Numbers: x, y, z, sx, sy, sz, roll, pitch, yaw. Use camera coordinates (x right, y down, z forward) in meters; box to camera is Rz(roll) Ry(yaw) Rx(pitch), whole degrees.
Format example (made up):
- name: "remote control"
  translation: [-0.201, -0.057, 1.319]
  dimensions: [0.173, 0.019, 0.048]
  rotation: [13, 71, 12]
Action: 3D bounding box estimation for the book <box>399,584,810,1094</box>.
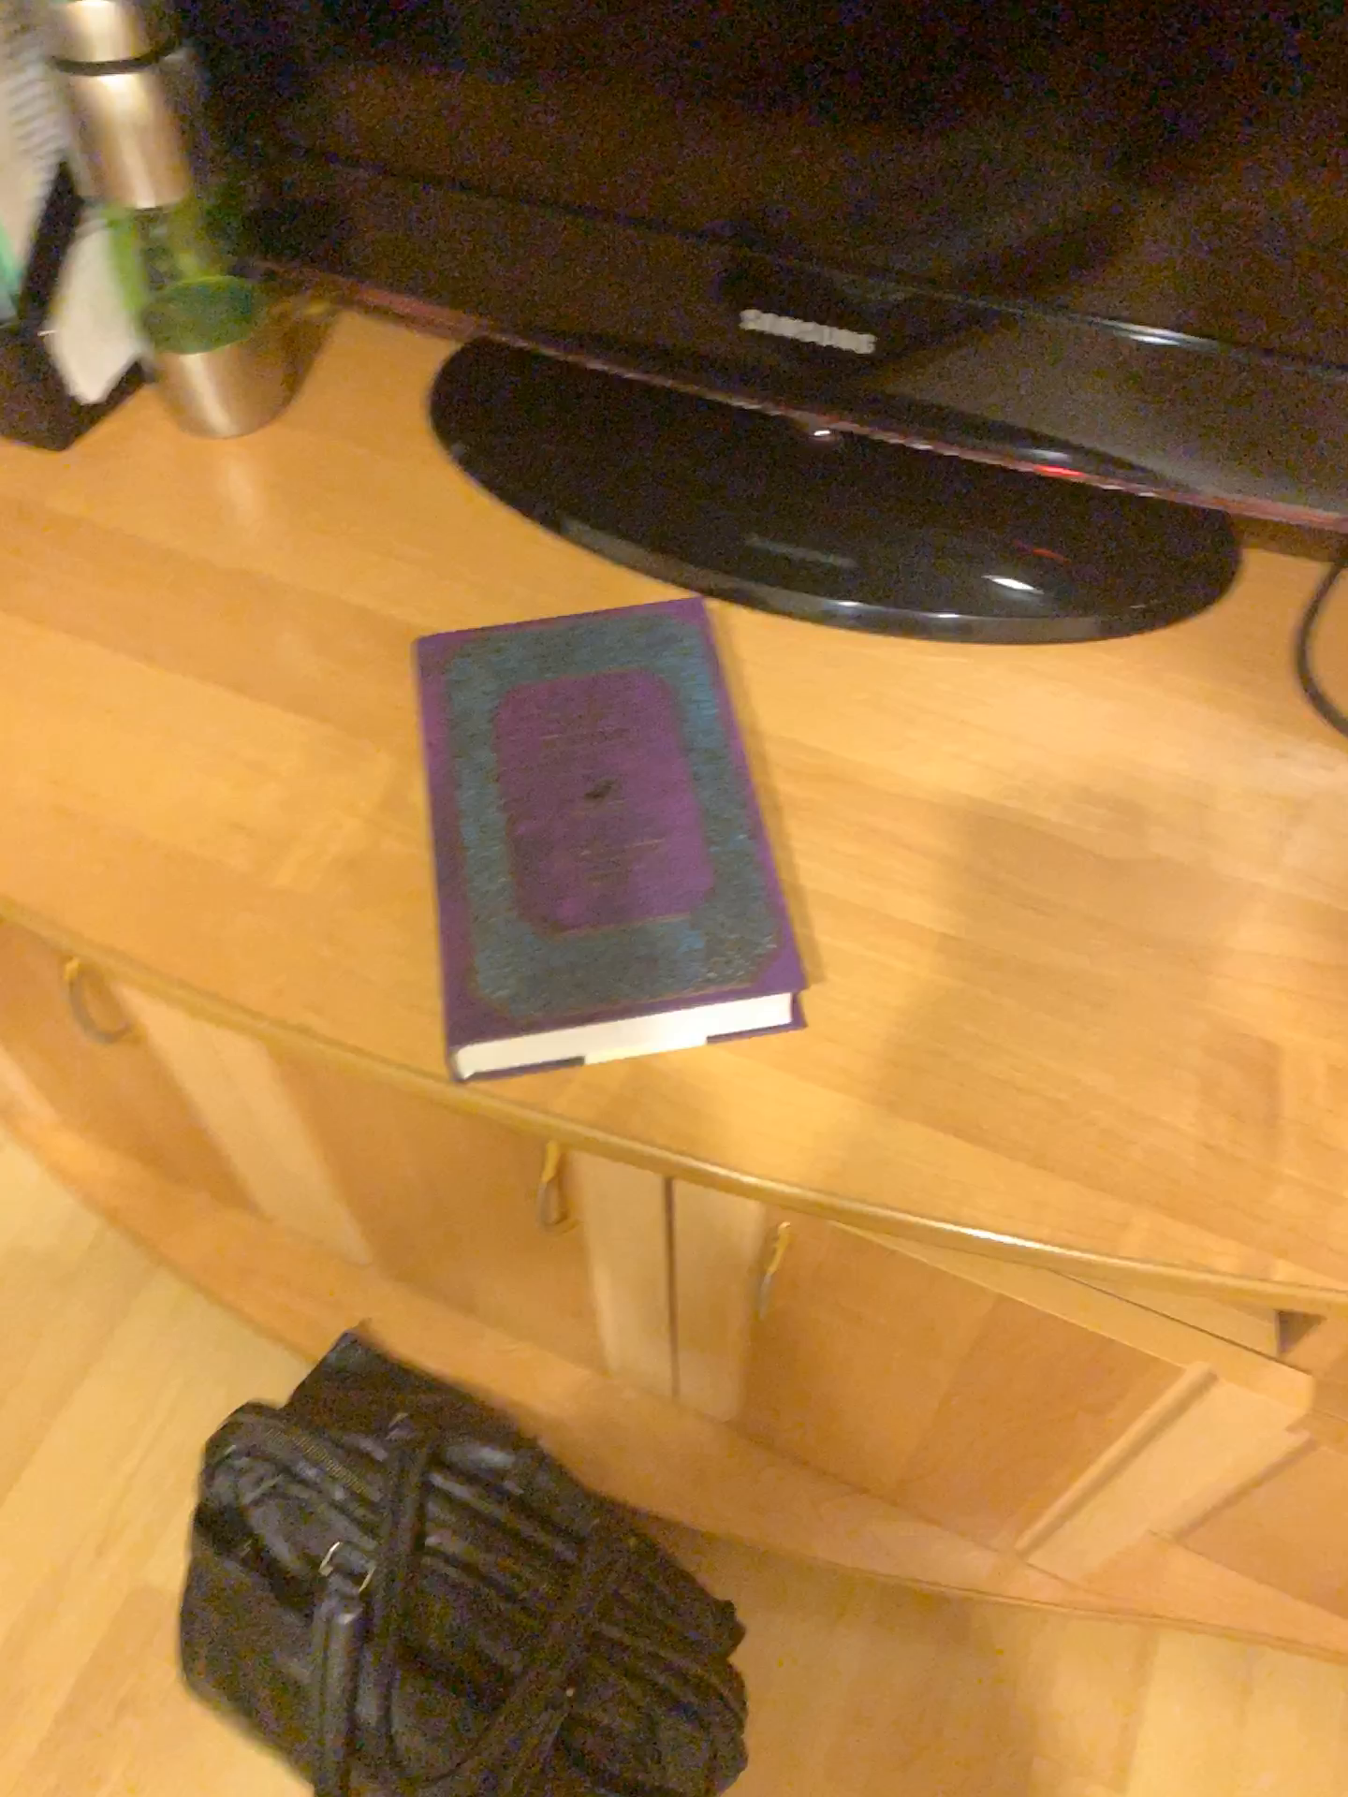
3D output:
- name: "book"
  translation: [-0.034, -0.032, 0.542]
  dimensions: [0.130, 0.040, 0.201]
  rotation: [-9, 56, -5]
